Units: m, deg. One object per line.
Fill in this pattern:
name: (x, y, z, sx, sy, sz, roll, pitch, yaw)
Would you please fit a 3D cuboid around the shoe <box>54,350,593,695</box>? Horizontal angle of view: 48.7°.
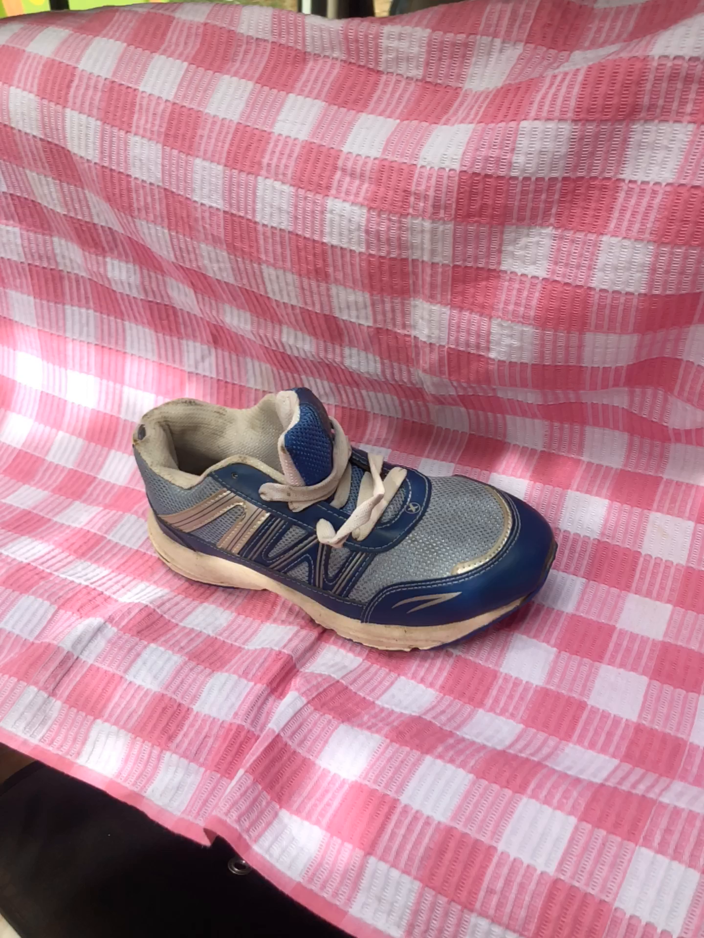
shoe: (-0.017, 0.015, 0.454, 0.280, 0.100, 0.111, 11, 42, 27)
